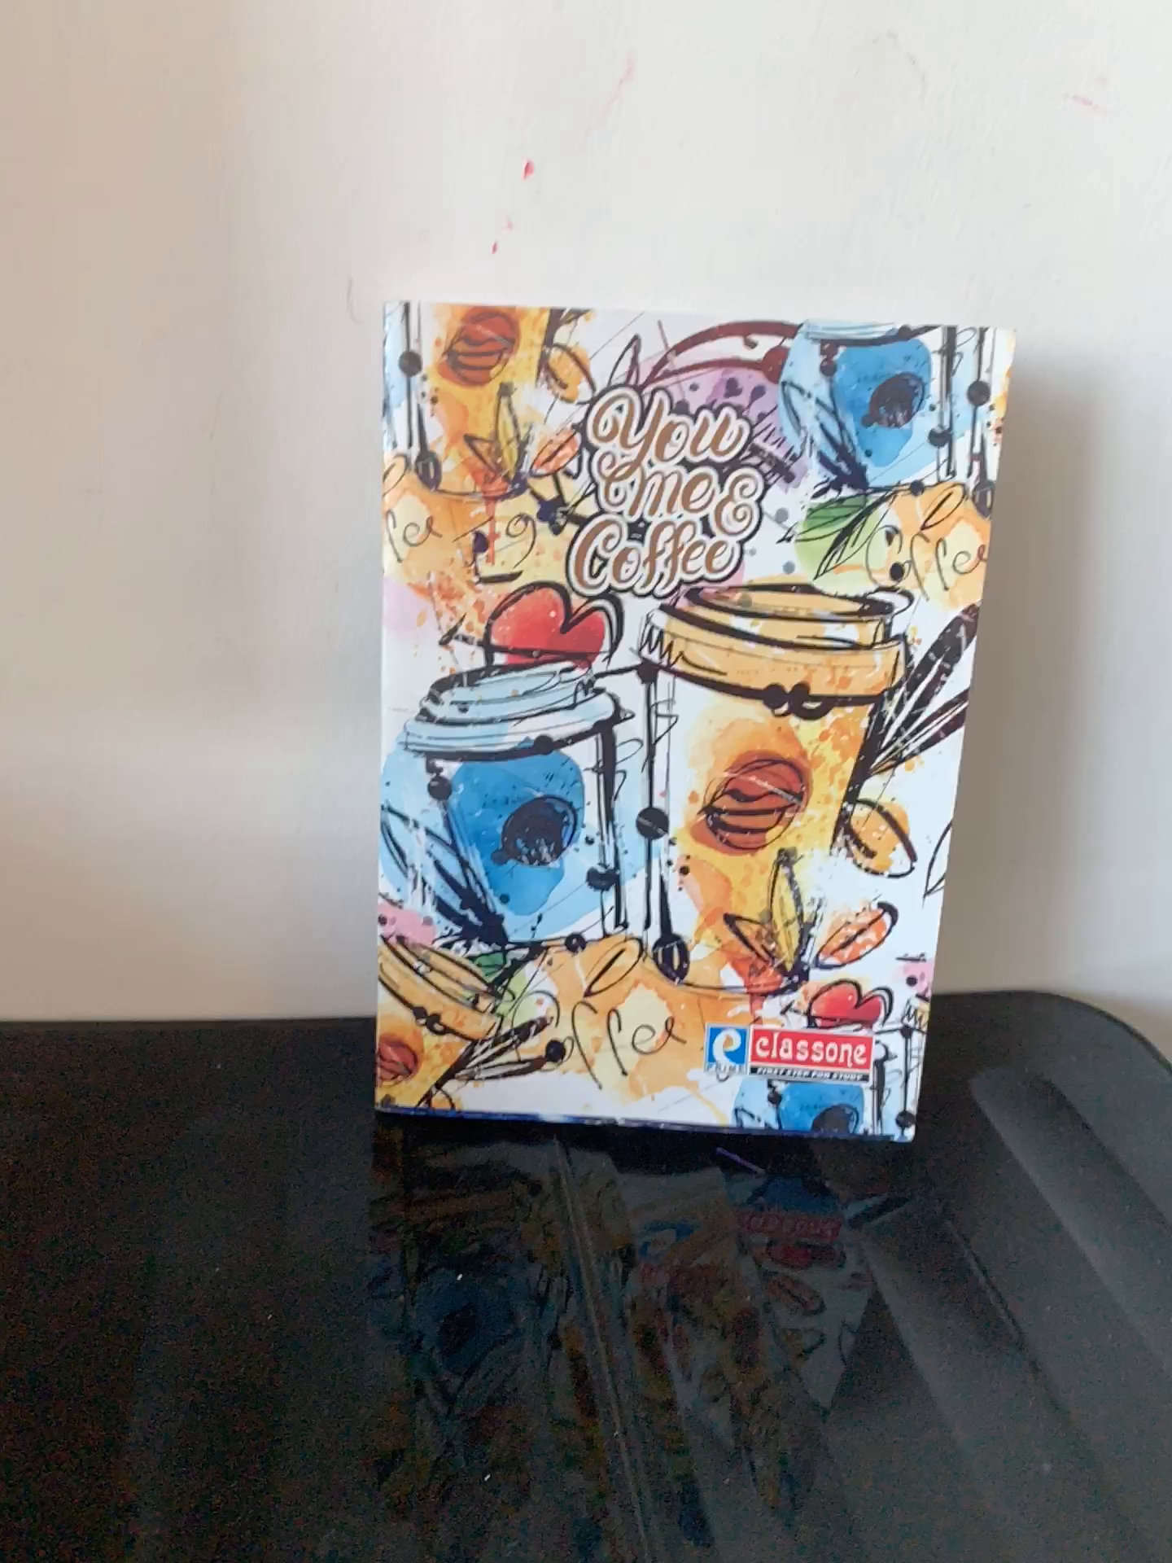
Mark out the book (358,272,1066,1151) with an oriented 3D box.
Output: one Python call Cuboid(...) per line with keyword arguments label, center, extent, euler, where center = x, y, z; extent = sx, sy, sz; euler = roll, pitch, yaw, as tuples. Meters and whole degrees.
Cuboid(label="book", center=(0.034, -0.016, 0.447), extent=(0.220, 0.299, 0.050), euler=(4, 14, -3))
